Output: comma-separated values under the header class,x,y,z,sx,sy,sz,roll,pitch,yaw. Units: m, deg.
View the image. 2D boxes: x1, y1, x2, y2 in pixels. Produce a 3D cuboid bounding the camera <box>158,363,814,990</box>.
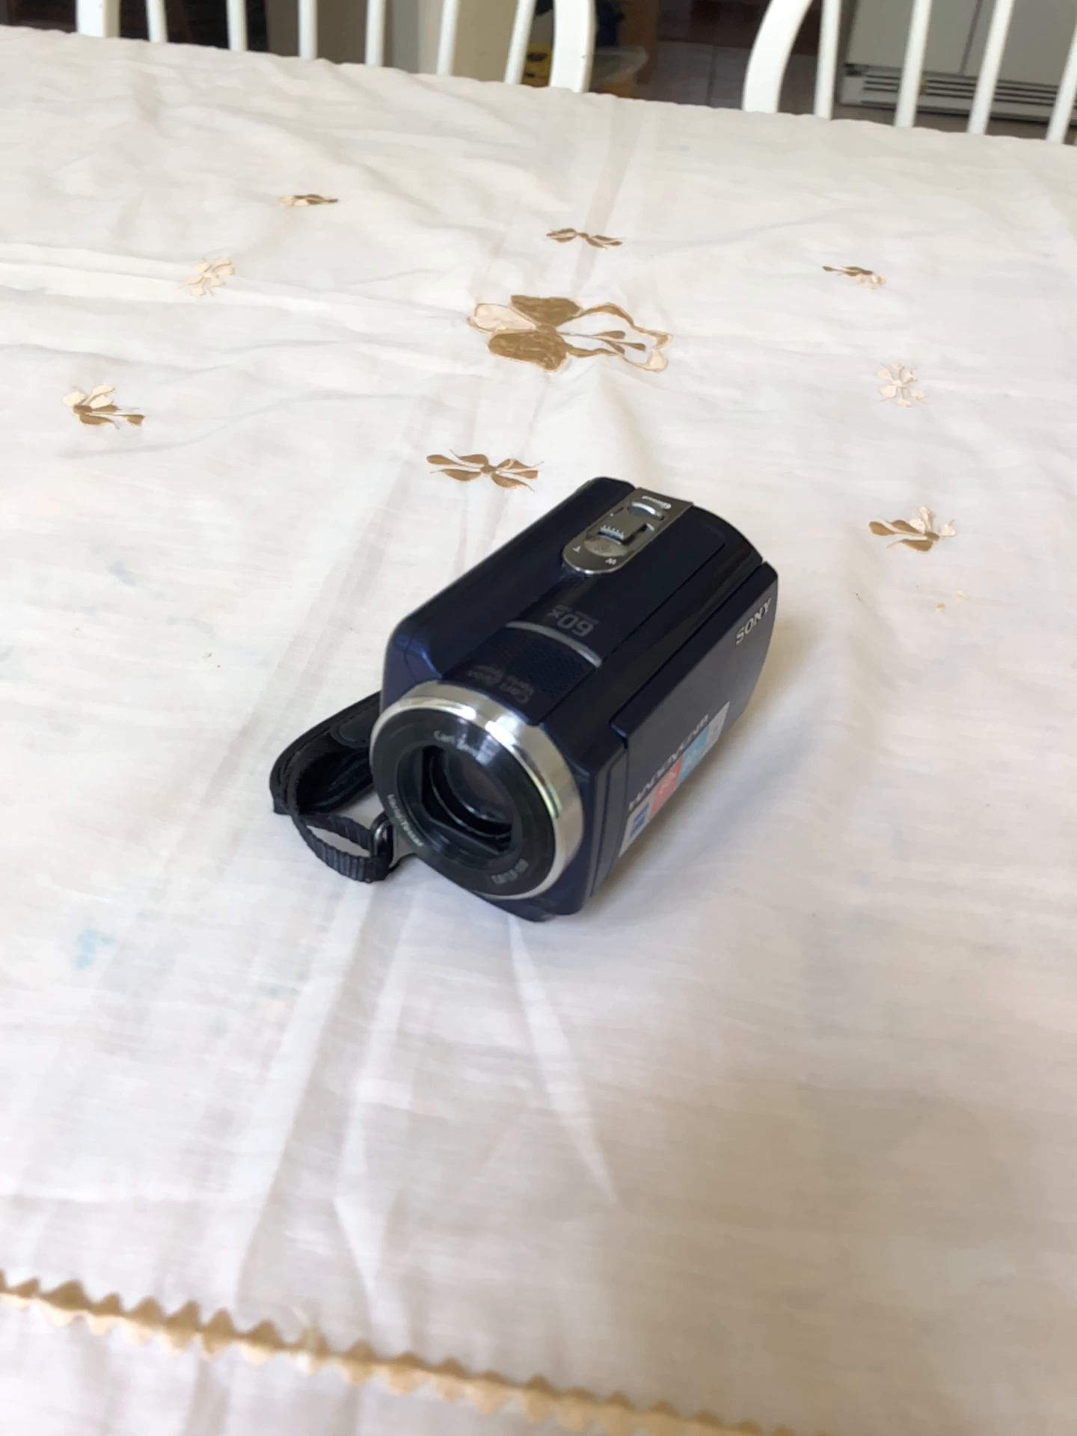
class,x,y,z,sx,sy,sz,roll,pitch,yaw
camera,-0.007,-0.019,0.278,0.090,0.070,0.120,24,43,22
